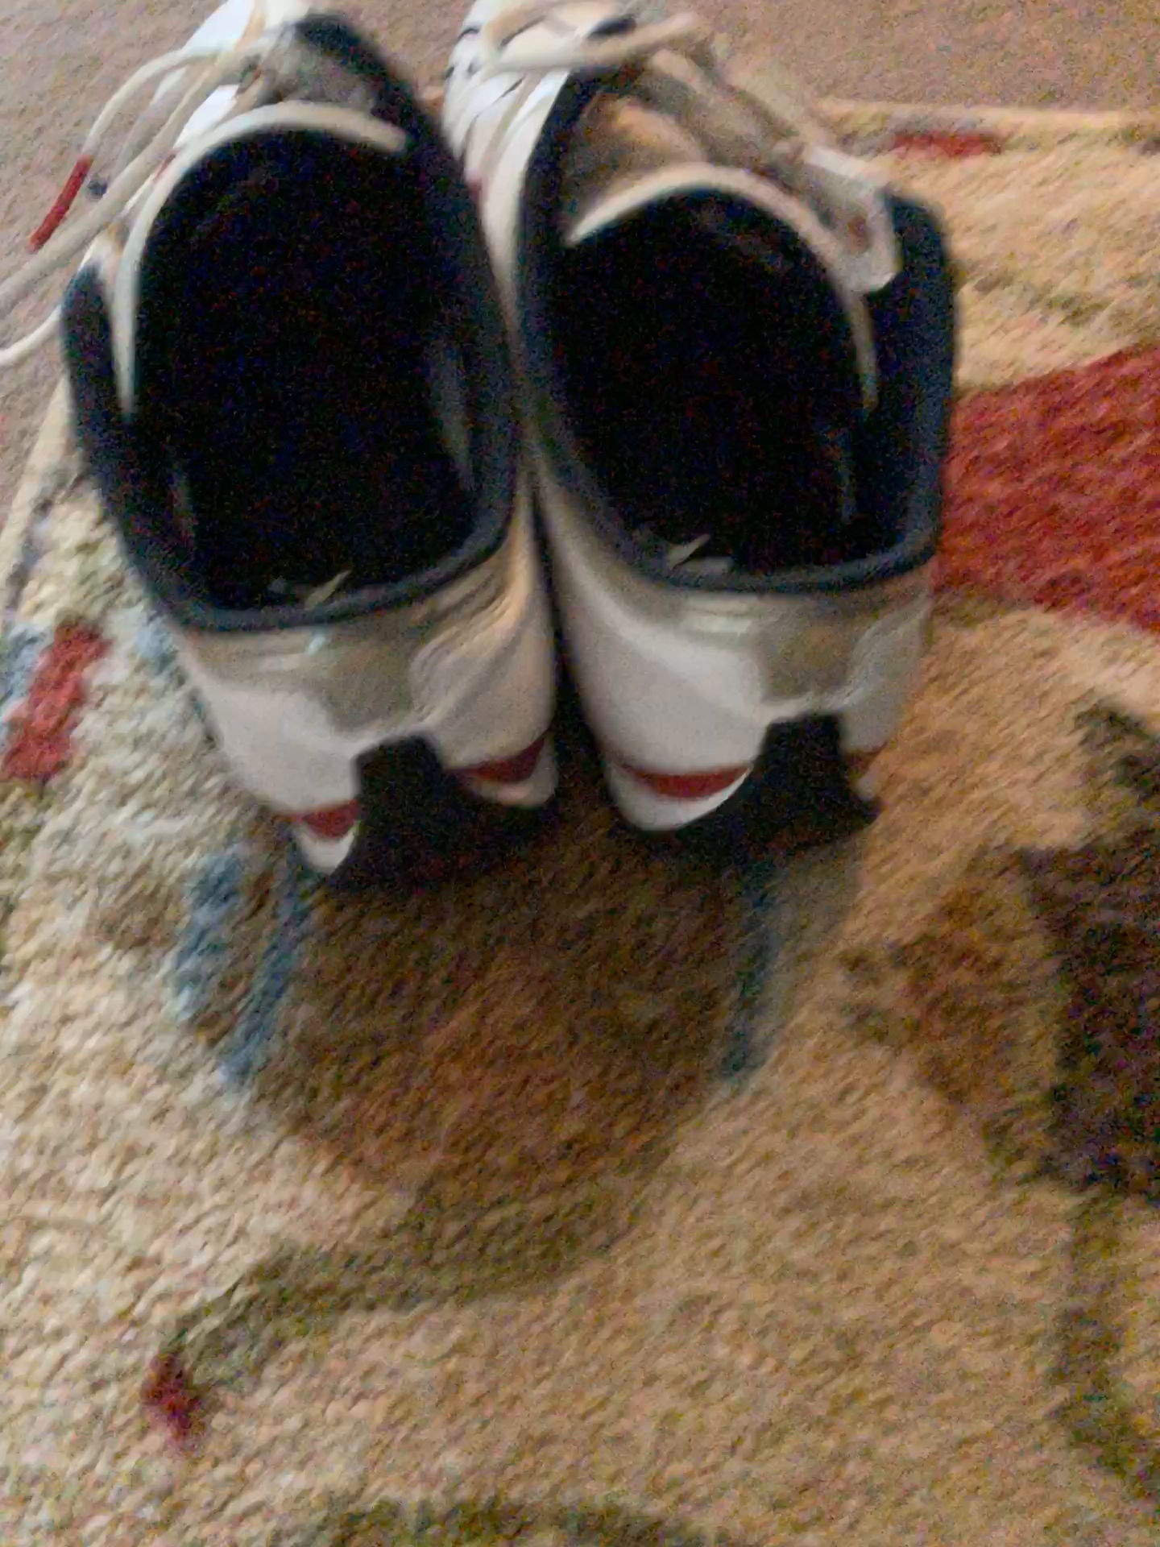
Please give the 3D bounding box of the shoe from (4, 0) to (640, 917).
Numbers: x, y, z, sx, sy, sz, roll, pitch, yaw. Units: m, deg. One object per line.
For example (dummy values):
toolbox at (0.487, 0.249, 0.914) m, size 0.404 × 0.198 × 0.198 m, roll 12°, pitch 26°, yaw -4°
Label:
shoe at (-0.067, -0.125, 0.301) m, size 0.100 × 0.099 × 0.292 m, roll -9°, pitch 63°, yaw -6°

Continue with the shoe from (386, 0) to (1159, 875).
shoe at (0.023, -0.133, 0.300) m, size 0.100 × 0.089 × 0.292 m, roll -9°, pitch 63°, yaw -6°
